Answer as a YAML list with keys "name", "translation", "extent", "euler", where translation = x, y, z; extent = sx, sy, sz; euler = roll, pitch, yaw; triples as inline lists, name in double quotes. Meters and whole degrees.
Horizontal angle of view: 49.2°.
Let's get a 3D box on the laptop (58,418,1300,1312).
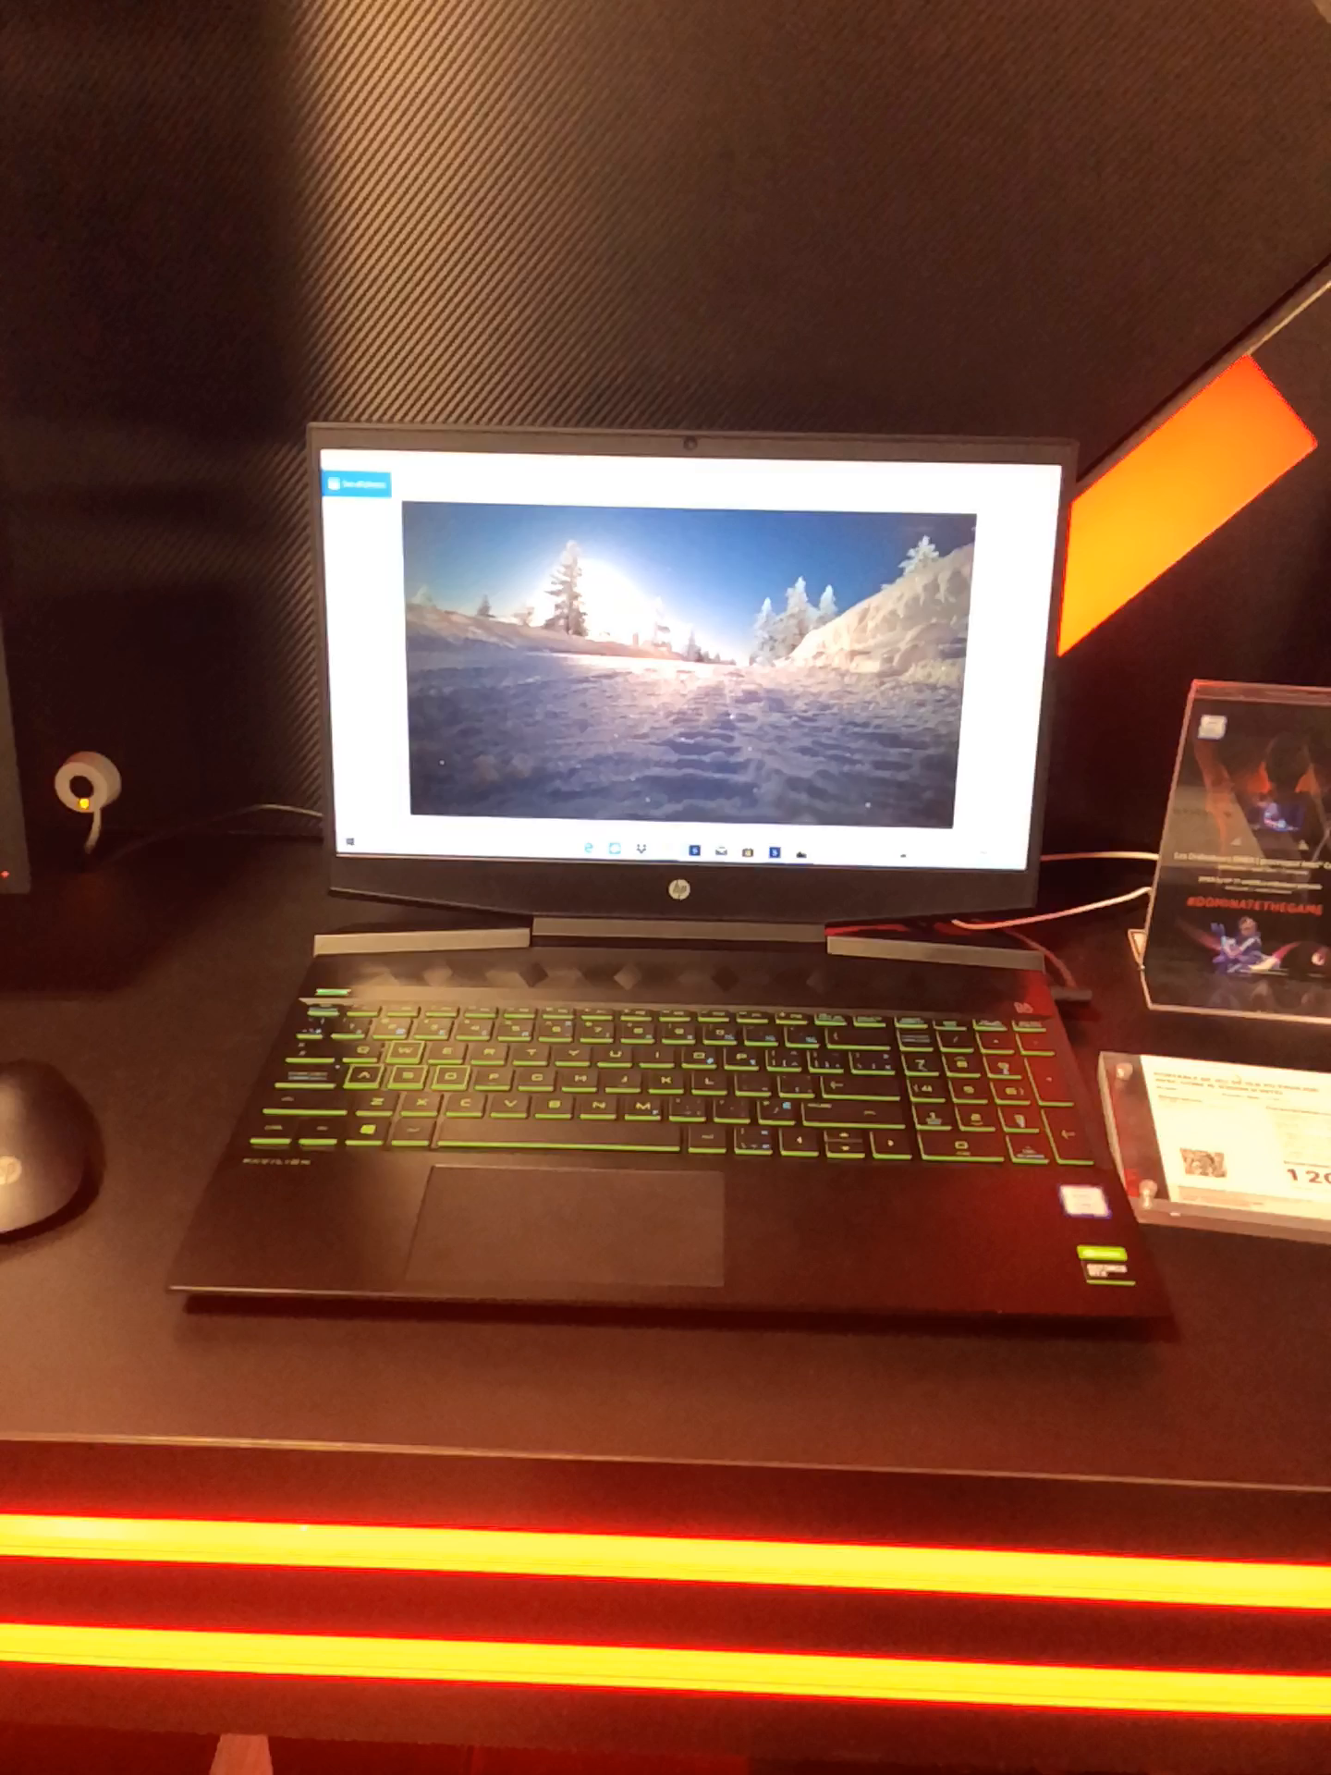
- name: "laptop"
  translation: [0.007, -0.039, 0.604]
  extent: [0.355, 0.240, 0.315]
  euler: [1, 27, 2]
